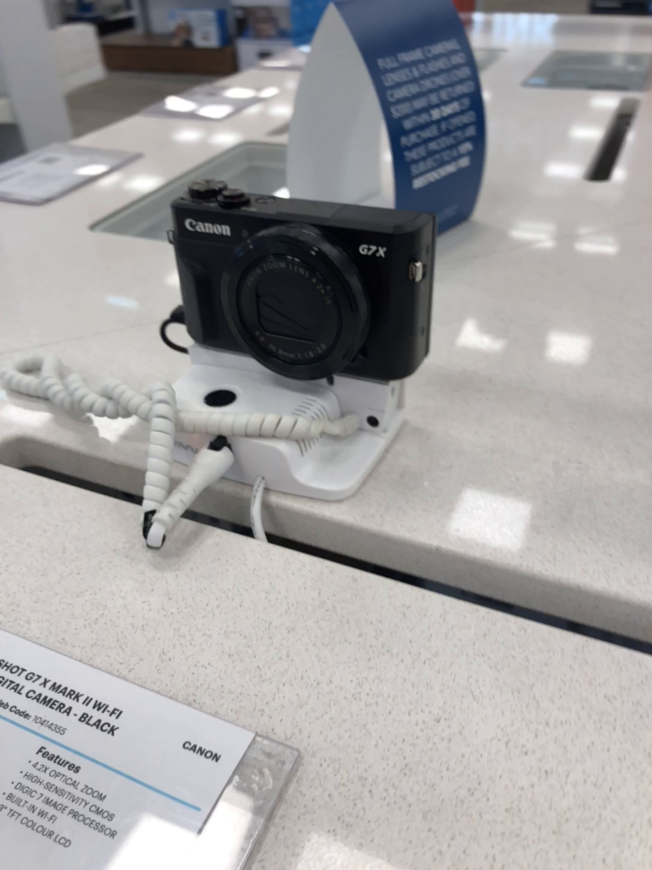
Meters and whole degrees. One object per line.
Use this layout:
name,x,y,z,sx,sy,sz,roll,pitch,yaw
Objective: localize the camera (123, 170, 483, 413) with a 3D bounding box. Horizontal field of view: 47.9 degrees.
camera,-0.008,-0.059,0.281,0.120,0.060,0.050,14,39,22
